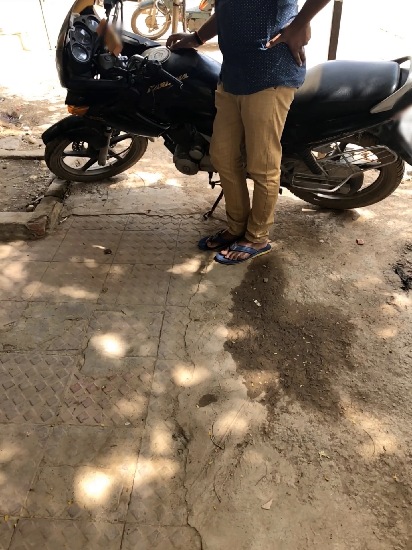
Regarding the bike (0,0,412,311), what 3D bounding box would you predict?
[{"bbox_3d":[-0.077,-0.664,1.957,1.890,1.177,0.802,7,39,8],"label":"bike"}]
